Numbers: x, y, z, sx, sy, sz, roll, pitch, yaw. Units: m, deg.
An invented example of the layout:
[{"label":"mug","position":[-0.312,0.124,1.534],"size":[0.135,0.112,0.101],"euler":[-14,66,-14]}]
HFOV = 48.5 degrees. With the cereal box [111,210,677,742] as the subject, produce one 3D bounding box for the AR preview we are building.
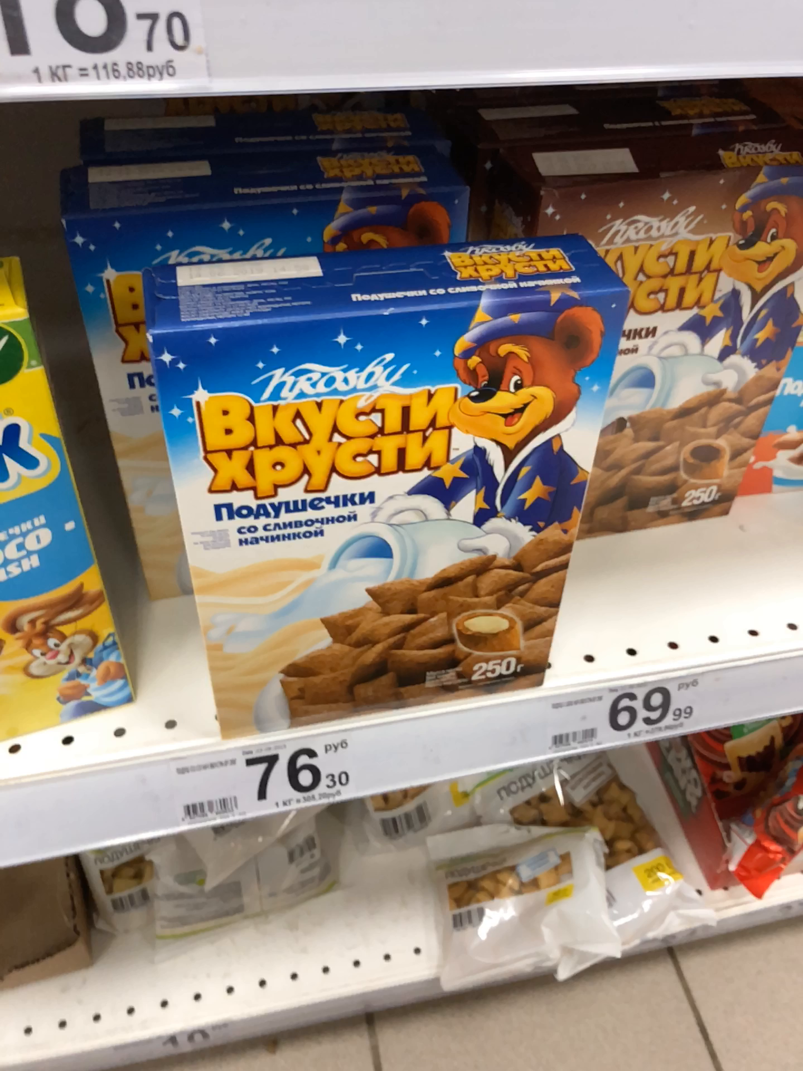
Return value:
[{"label":"cereal box","position":[-0.006,-0.013,0.387],"size":[0.190,0.229,0.050],"euler":[-8,44,-11]}]
